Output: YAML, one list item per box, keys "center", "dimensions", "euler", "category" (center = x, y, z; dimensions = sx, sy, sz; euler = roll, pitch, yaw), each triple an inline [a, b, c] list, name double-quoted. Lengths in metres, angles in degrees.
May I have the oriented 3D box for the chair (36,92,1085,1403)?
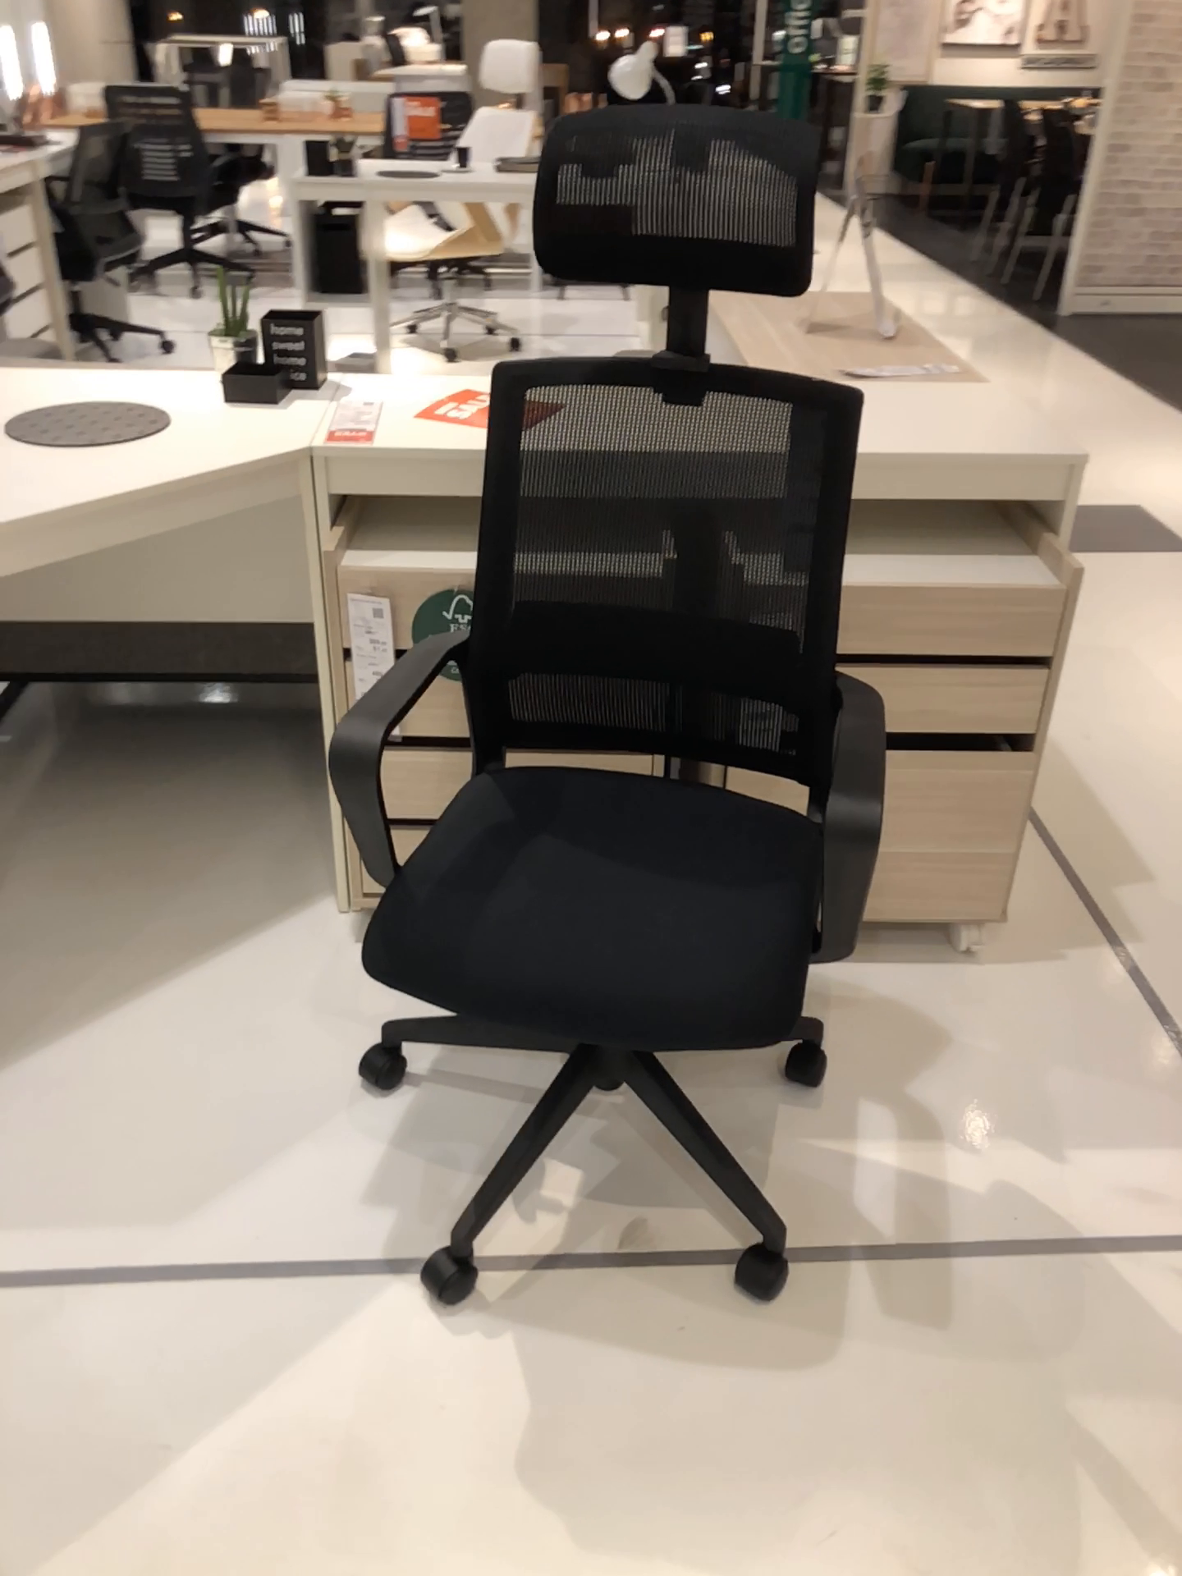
- center: [0.014, -0.067, 1.361]
  dimensions: [0.660, 1.131, 0.665]
  euler: [7, 31, 9]
  category: "chair"
